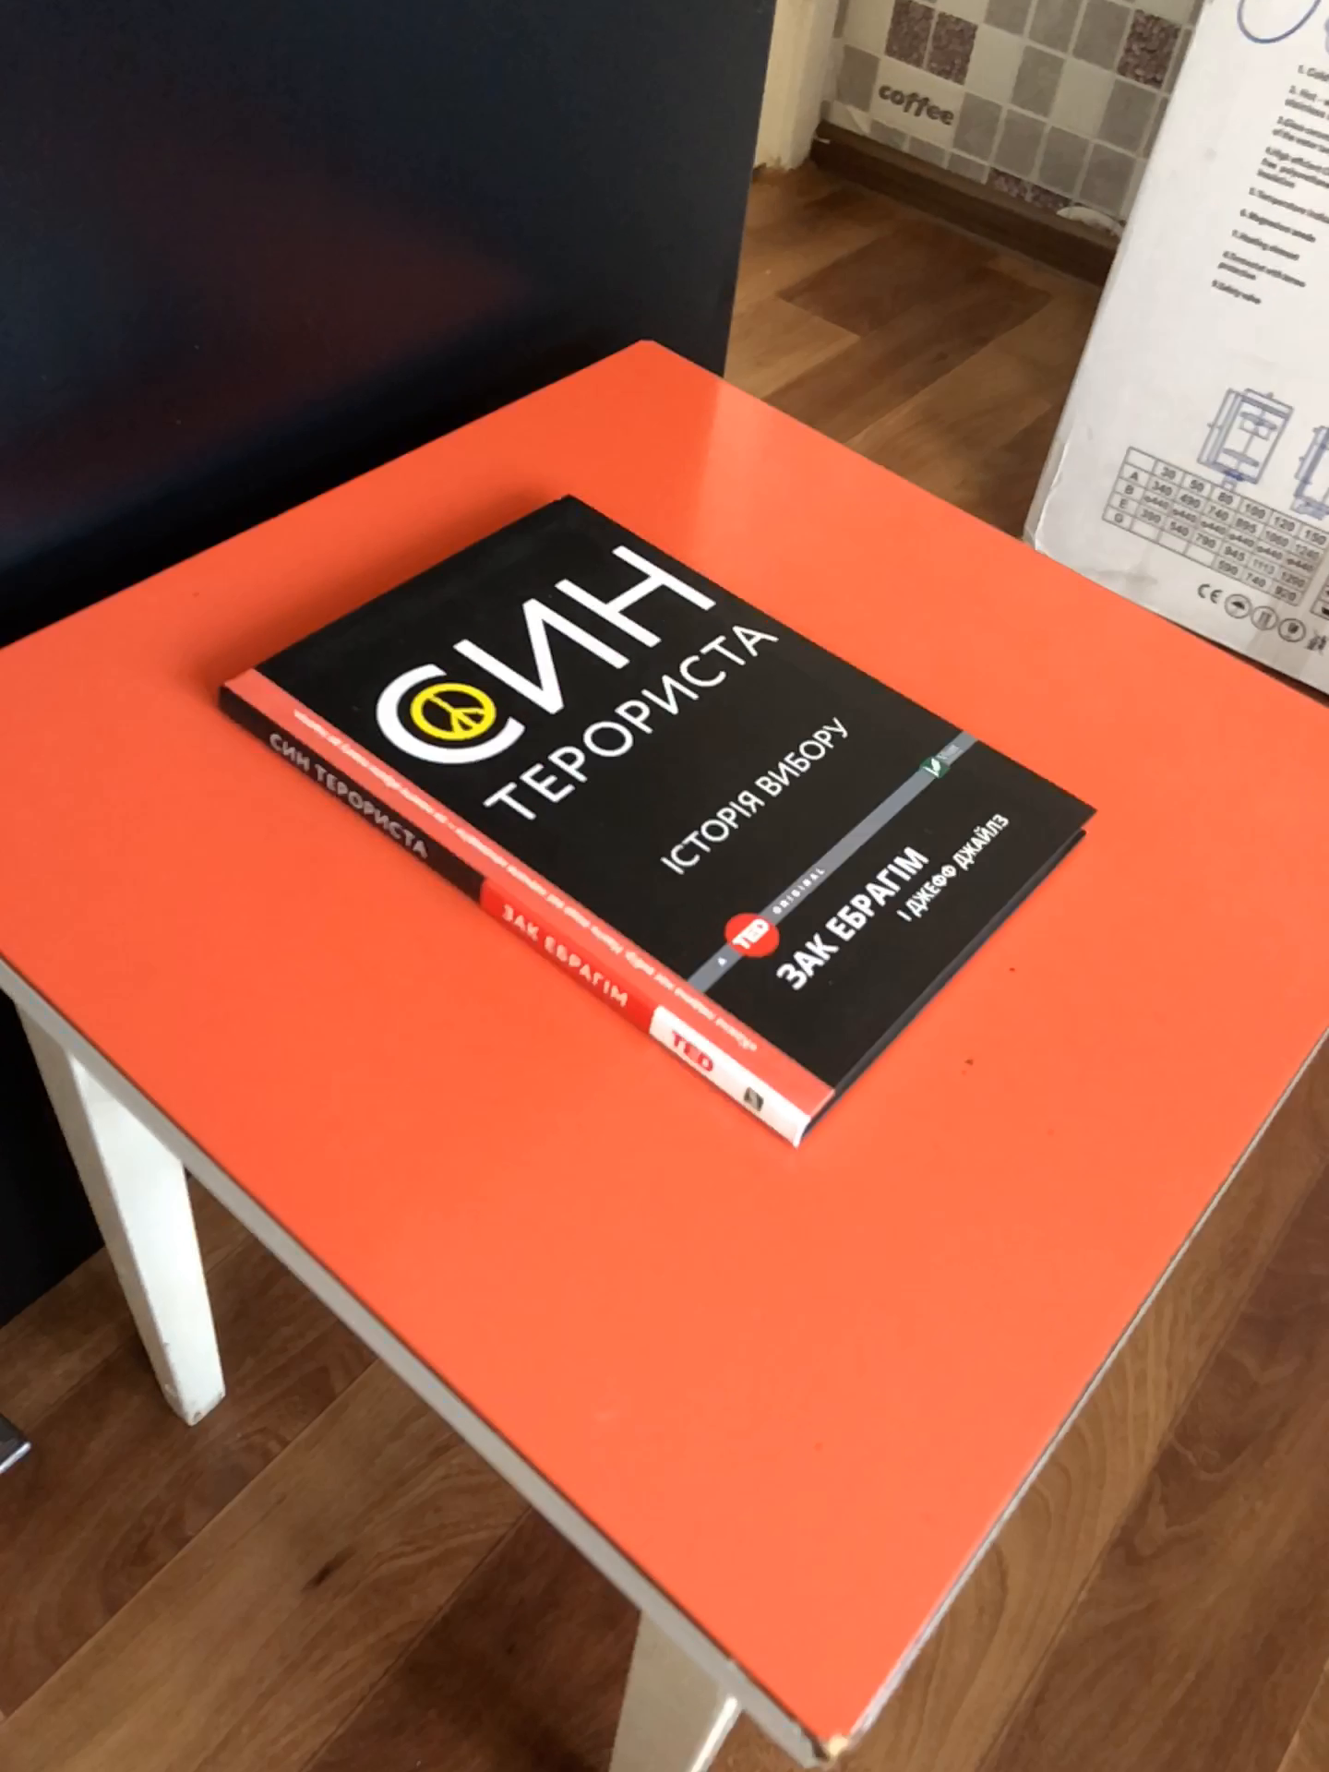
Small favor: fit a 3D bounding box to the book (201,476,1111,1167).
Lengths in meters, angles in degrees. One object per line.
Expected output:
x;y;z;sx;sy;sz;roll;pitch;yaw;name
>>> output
-0.002;-0.034;0.390;0.198;0.016;0.141;35;53;22;book
